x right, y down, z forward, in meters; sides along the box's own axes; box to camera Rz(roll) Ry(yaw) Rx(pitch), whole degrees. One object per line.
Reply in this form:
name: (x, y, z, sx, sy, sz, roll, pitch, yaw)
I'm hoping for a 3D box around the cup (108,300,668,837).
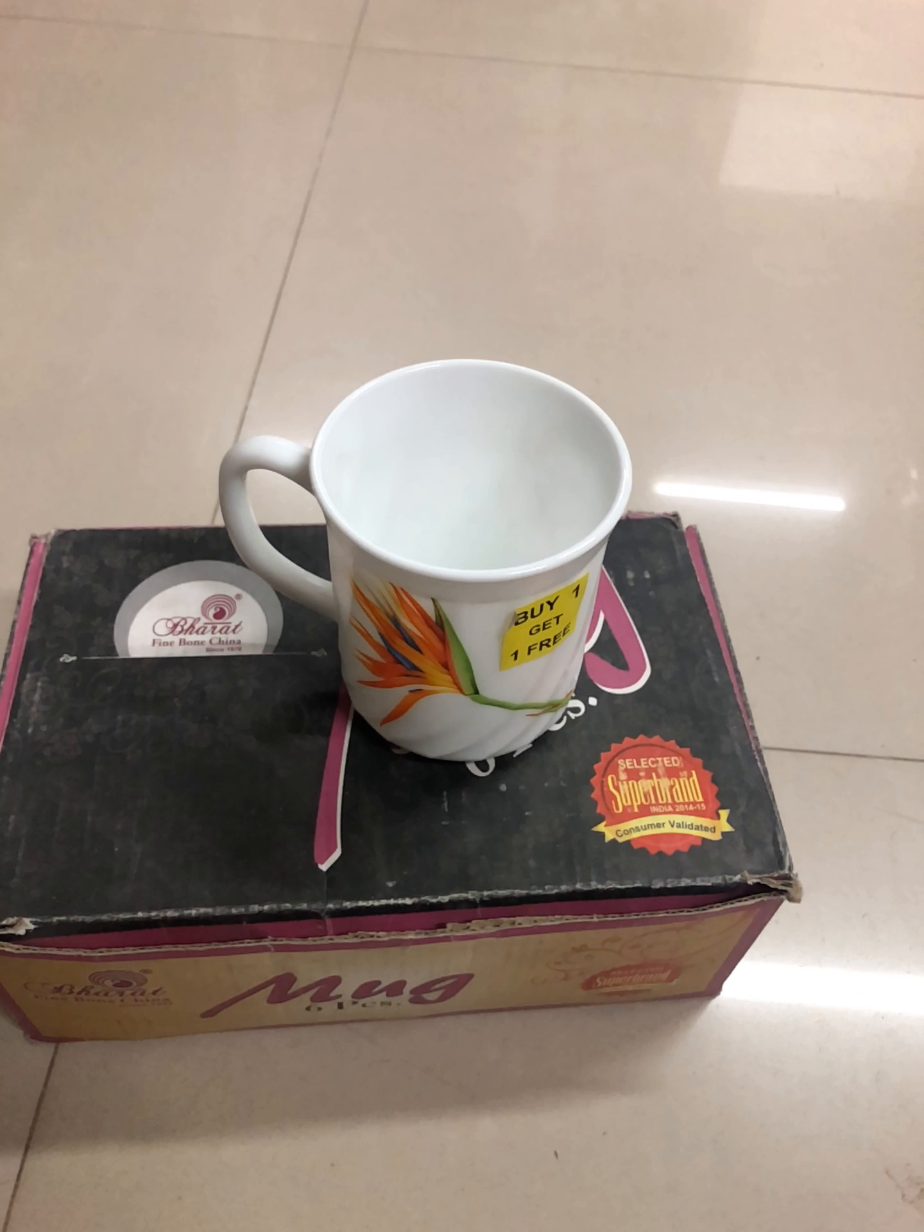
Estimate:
cup: (-0.015, -0.012, 0.274, 0.110, 0.089, 0.080, 14, 51, 7)
